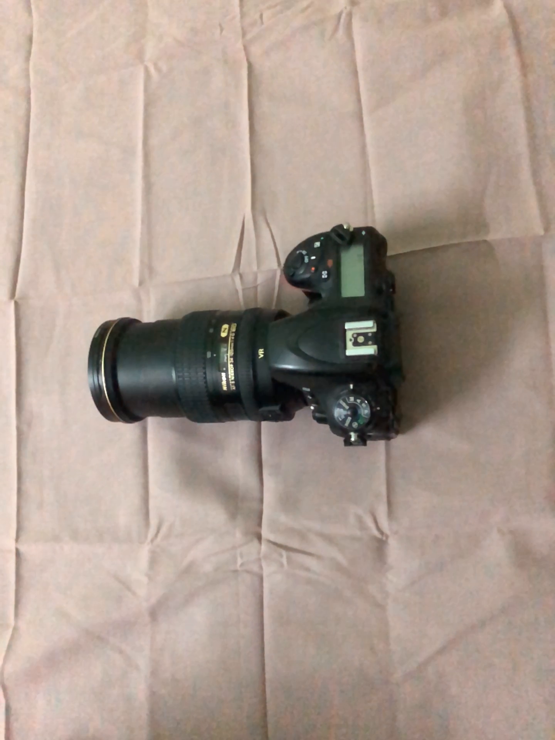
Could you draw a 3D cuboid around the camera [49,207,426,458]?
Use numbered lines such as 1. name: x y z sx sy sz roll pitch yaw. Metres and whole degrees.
1. camera: -0.020 -0.012 0.426 0.232 0.110 0.139 -3 79 13
